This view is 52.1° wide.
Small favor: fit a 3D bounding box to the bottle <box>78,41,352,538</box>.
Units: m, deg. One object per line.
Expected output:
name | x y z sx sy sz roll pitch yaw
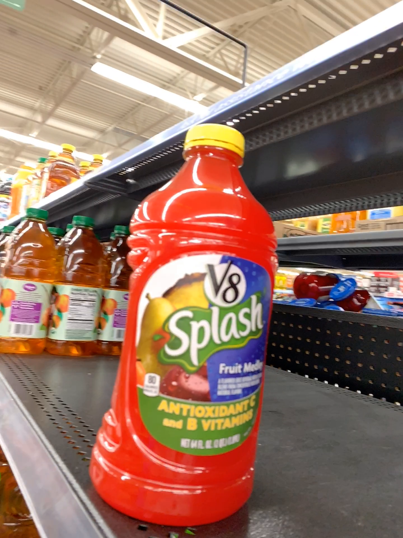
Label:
bottle | 0.001 0.015 0.299 0.140 0.265 0.122 7 -4 -19
